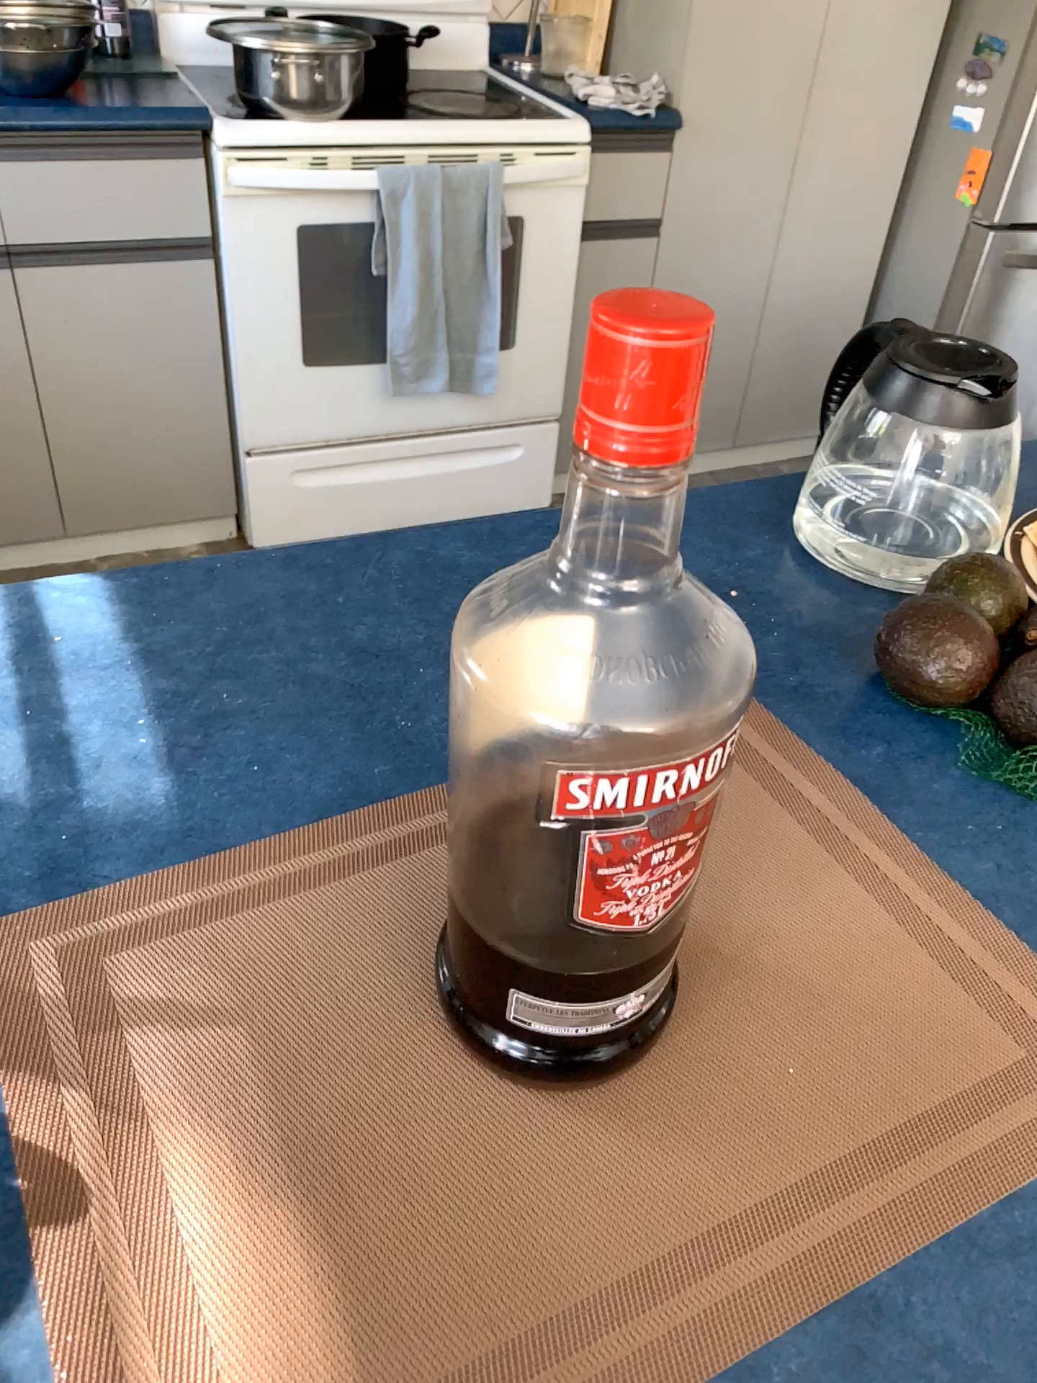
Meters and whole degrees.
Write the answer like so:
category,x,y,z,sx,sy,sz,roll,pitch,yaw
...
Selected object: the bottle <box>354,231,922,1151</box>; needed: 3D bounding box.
category,x,y,z,sx,sy,sz,roll,pitch,yaw
bottle,0.019,0.014,0.396,0.120,0.317,0.111,3,38,-3
